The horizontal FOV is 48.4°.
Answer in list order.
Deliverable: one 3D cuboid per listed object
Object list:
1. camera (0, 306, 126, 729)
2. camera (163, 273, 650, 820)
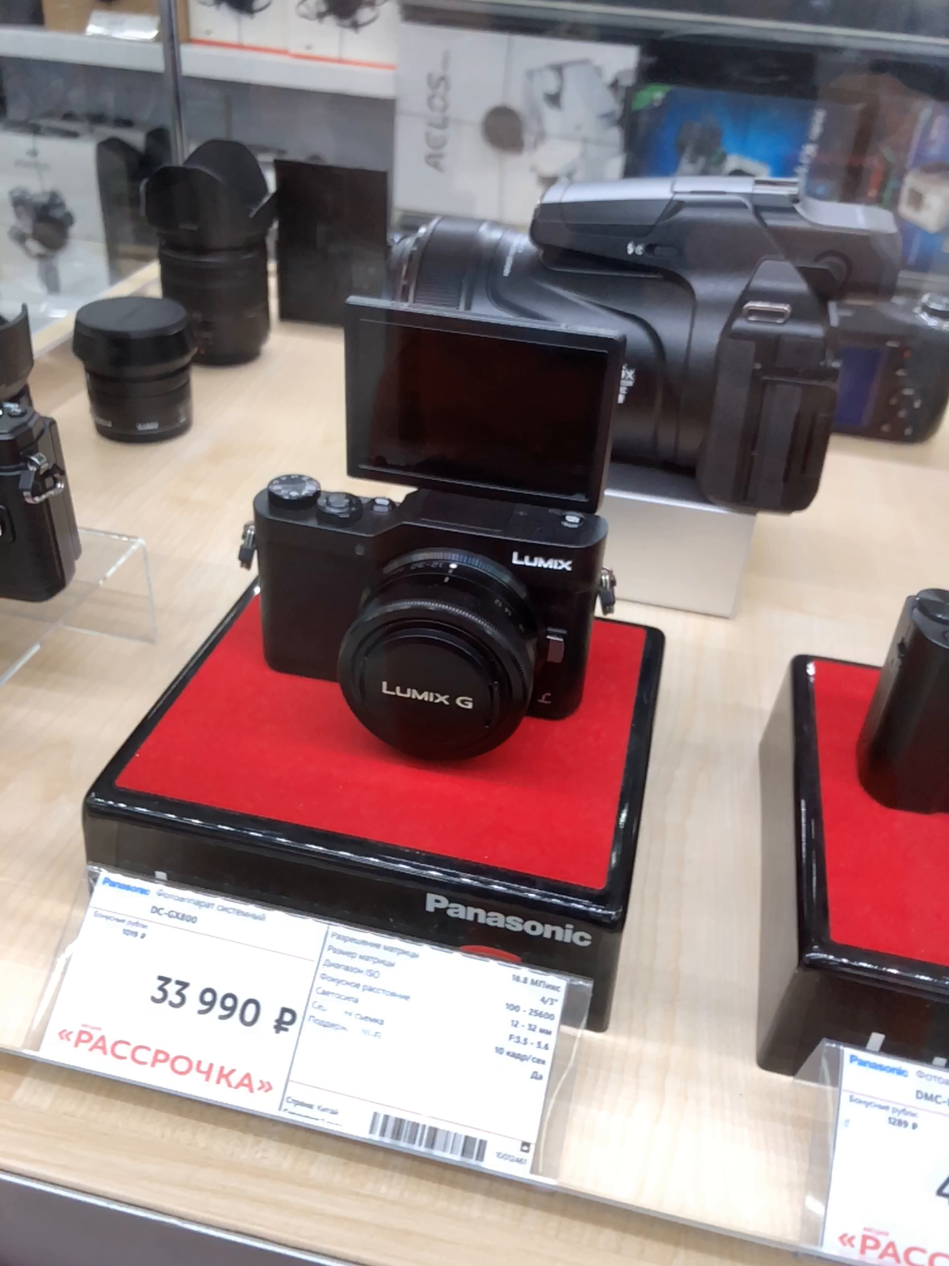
[{"bbox_3d":[-0.191,-0.042,0.337,0.108,0.080,0.103,10,35,9],"label":"camera"},{"bbox_3d":[-0.015,-0.024,0.295,0.108,0.120,0.070,8,34,6],"label":"camera"}]
